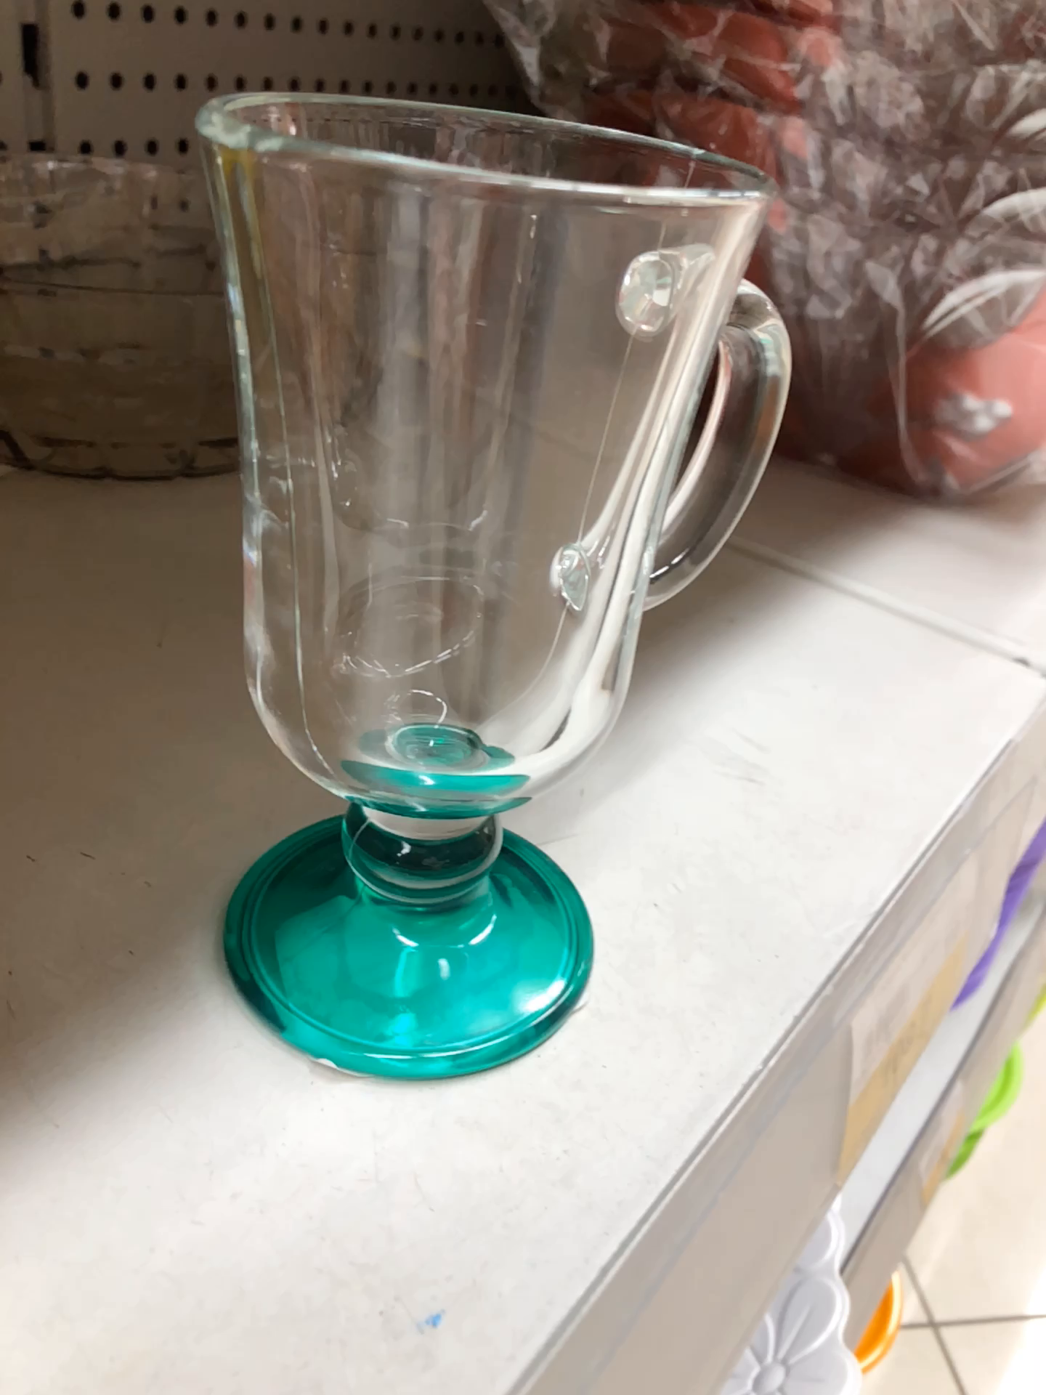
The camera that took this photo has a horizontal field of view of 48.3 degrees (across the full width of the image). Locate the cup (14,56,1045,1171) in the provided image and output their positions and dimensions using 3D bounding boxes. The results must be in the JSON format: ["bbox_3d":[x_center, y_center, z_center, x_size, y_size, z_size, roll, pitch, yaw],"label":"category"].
[{"bbox_3d":[0.001,-0.023,0.179,0.108,0.118,0.085,-22,43,-37],"label":"cup"}]
